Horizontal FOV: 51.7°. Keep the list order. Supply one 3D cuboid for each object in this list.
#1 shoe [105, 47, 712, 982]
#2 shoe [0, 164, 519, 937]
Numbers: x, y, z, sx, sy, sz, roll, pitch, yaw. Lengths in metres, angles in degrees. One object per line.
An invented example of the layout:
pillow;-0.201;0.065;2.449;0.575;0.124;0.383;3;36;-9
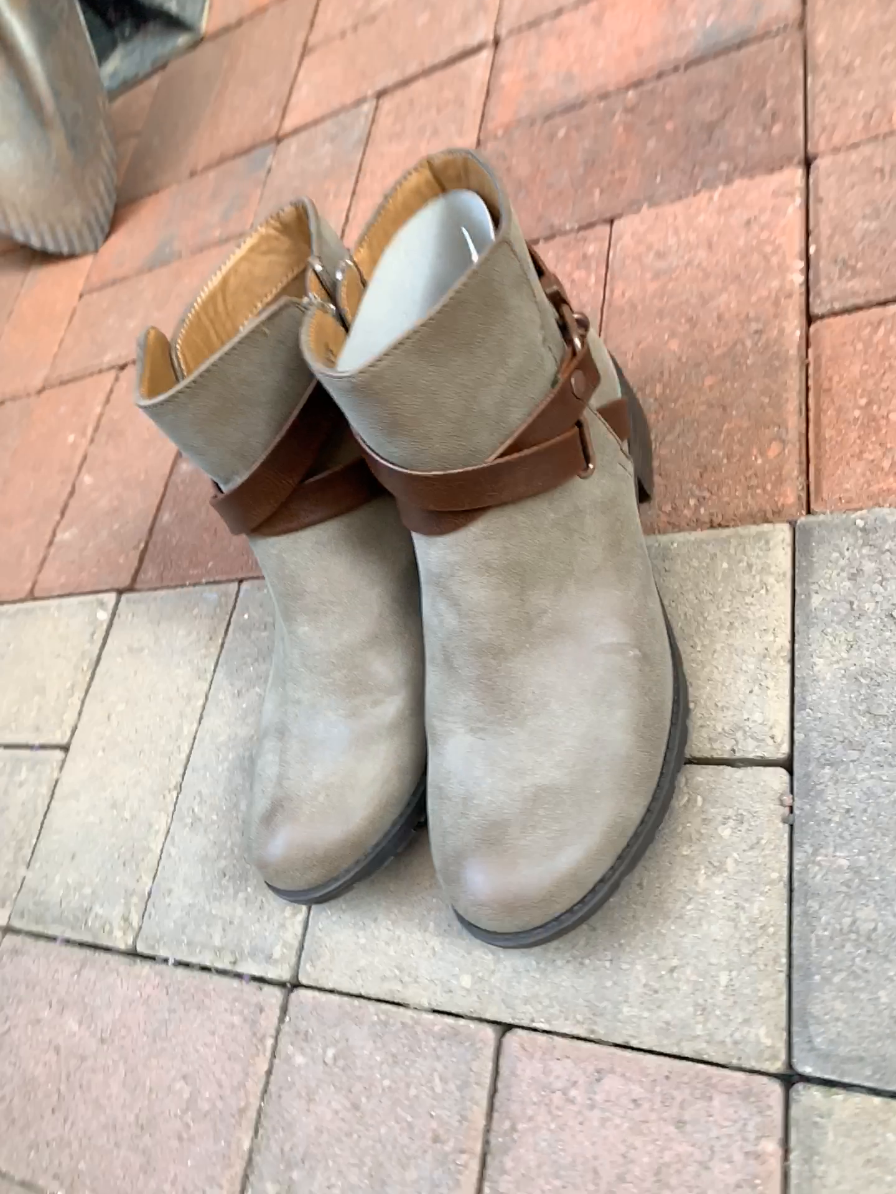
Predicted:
shoe;0.015;-0.016;0.318;0.095;0.165;0.252;-7;62;32
shoe;-0.068;-0.008;0.368;0.095;0.165;0.239;-5;63;33
